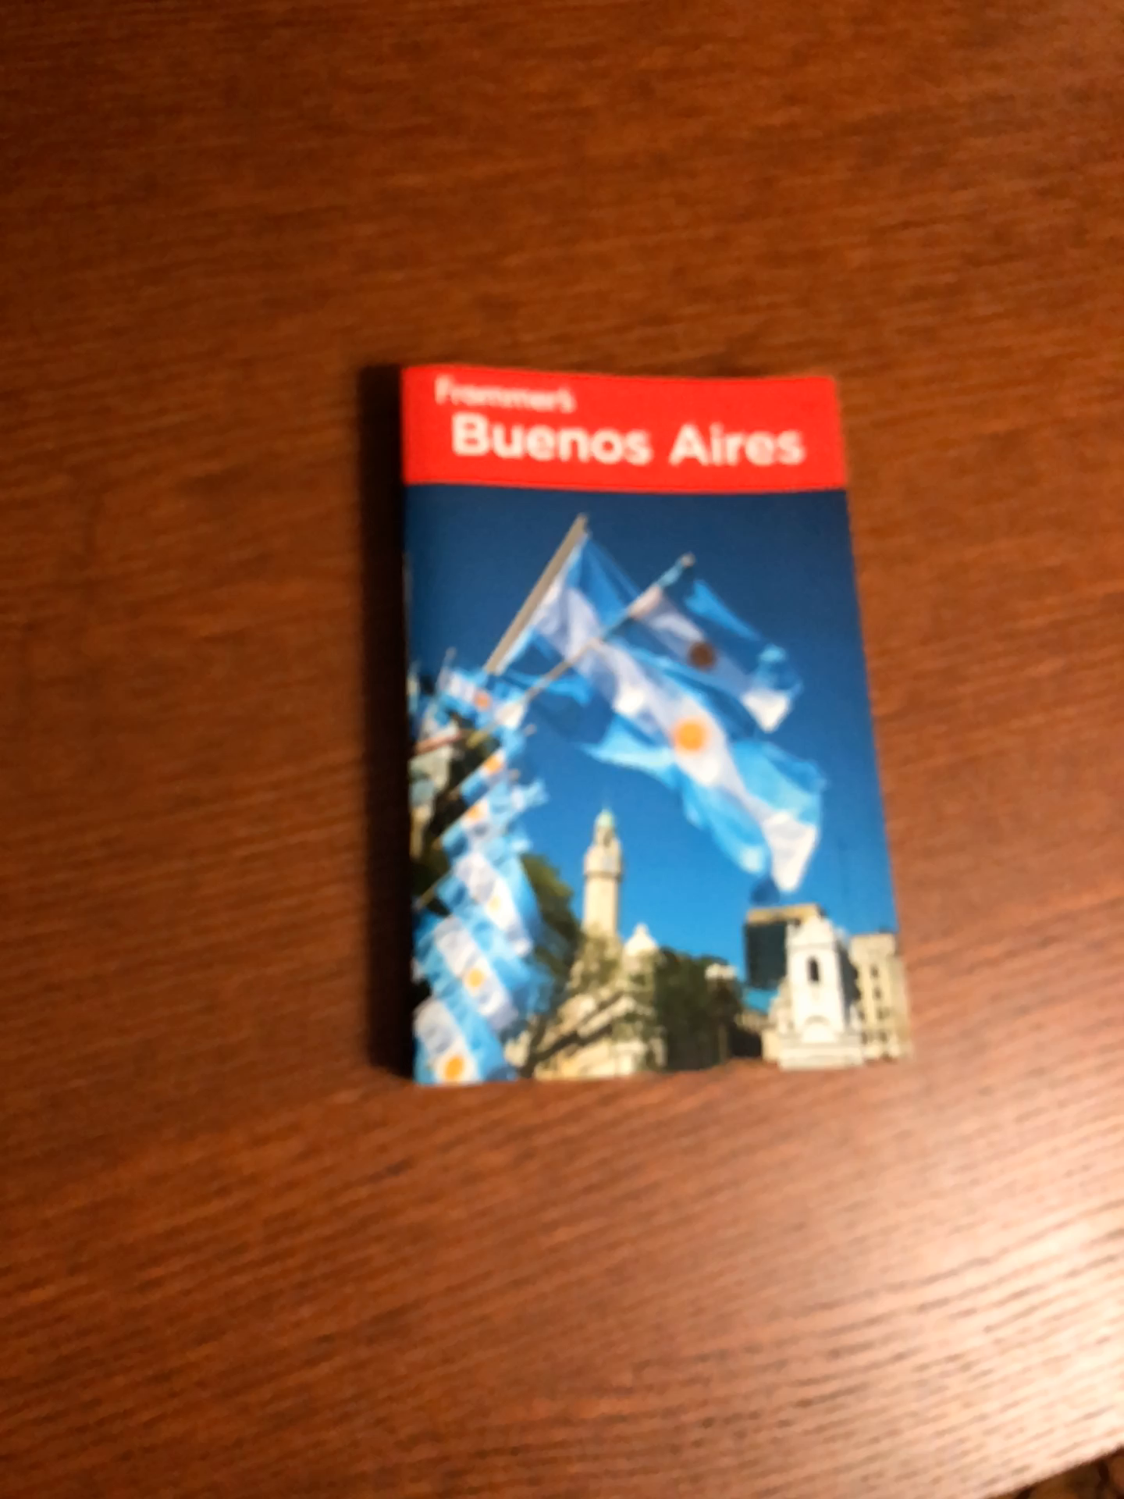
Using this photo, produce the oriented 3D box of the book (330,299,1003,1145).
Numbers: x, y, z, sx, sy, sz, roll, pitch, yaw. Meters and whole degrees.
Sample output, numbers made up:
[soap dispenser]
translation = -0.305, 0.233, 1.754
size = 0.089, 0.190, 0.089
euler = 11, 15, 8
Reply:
[book]
translation = 0.022, -0.016, 0.341
size = 0.160, 0.020, 0.220
euler = -2, 76, -10
